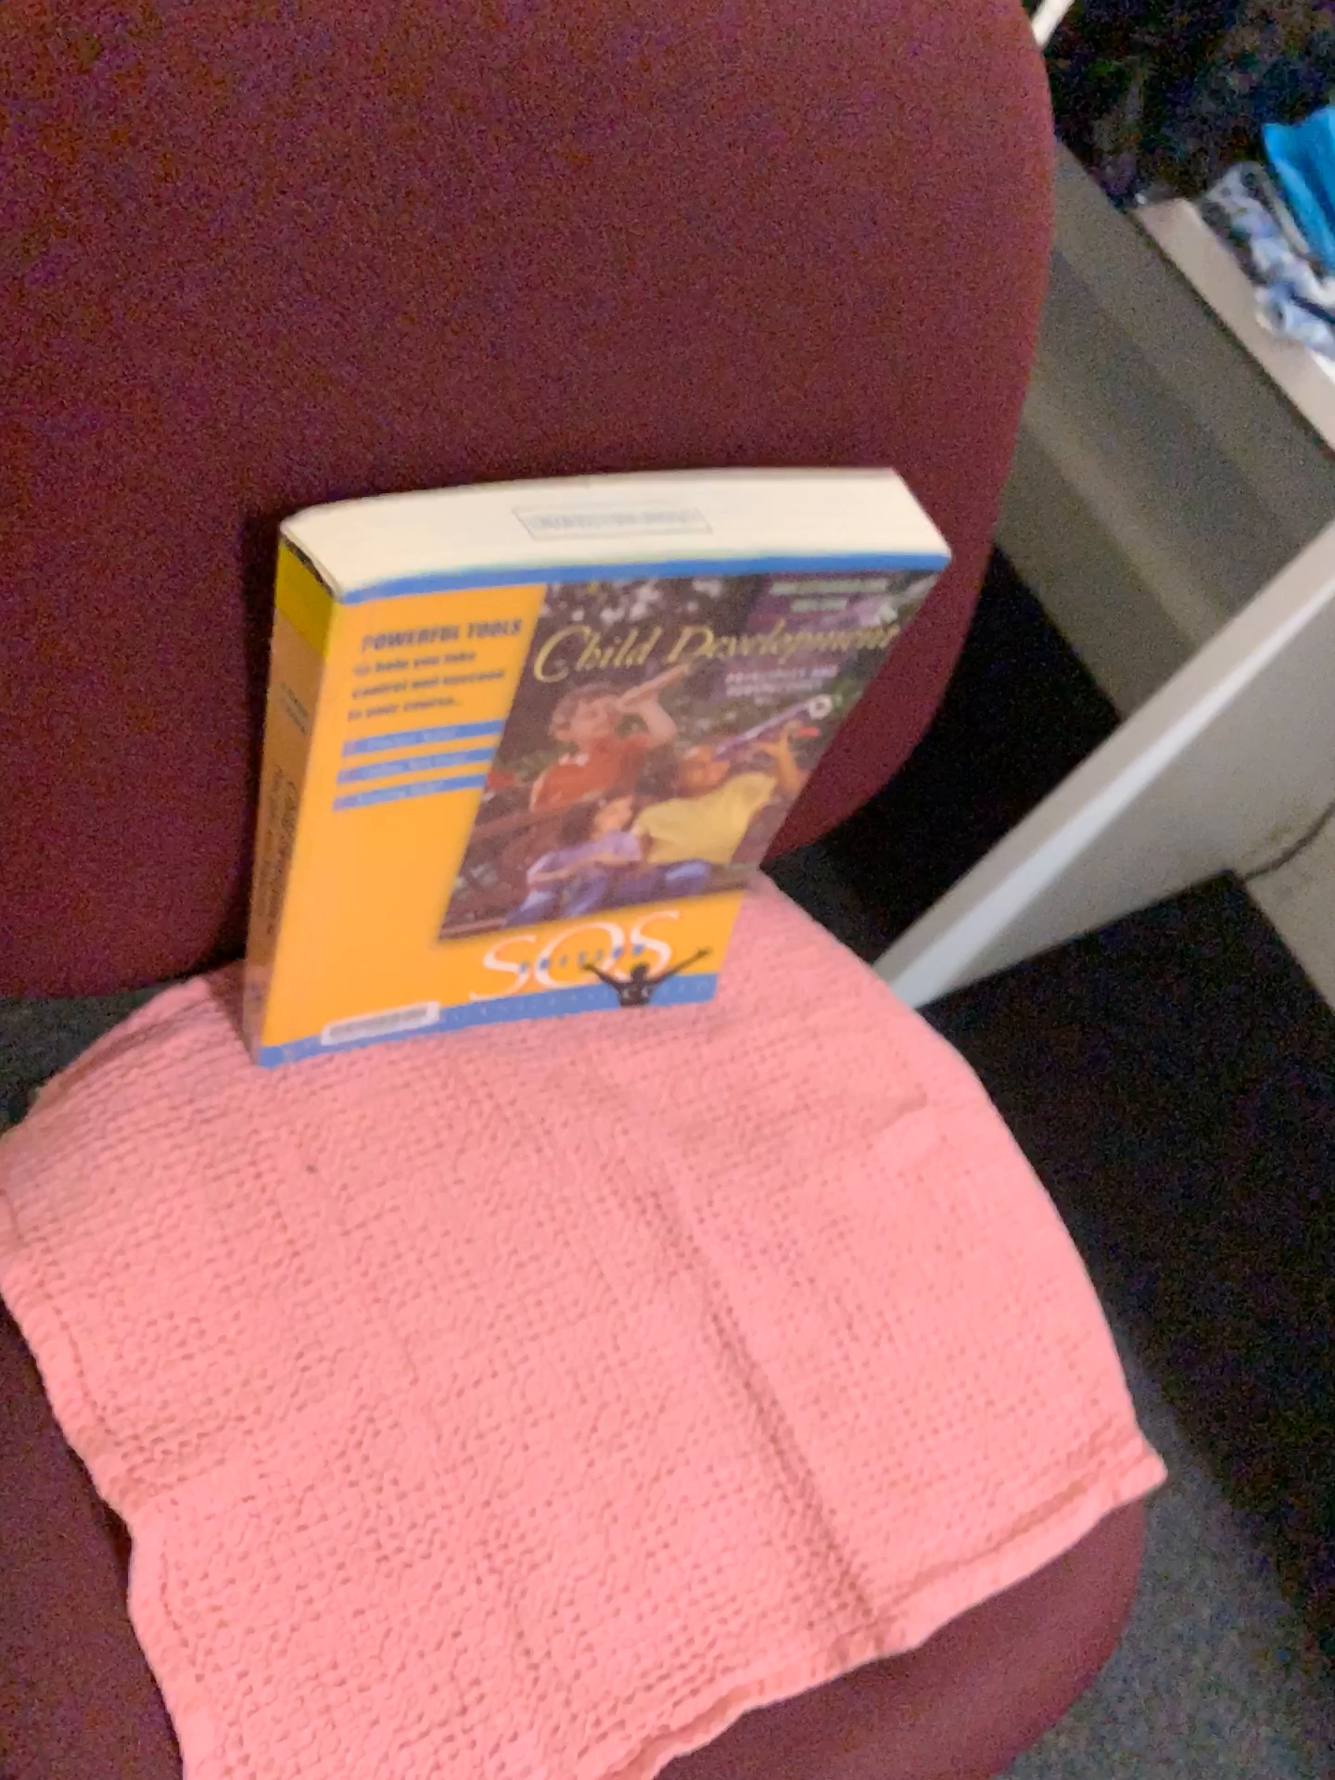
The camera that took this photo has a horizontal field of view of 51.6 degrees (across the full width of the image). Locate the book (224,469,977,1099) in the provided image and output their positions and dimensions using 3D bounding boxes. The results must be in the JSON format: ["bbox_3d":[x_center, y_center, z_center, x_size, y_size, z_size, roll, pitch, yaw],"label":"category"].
[{"bbox_3d":[-0.040,-0.033,0.520,0.226,0.258,0.050,-10,56,-28],"label":"book"}]
